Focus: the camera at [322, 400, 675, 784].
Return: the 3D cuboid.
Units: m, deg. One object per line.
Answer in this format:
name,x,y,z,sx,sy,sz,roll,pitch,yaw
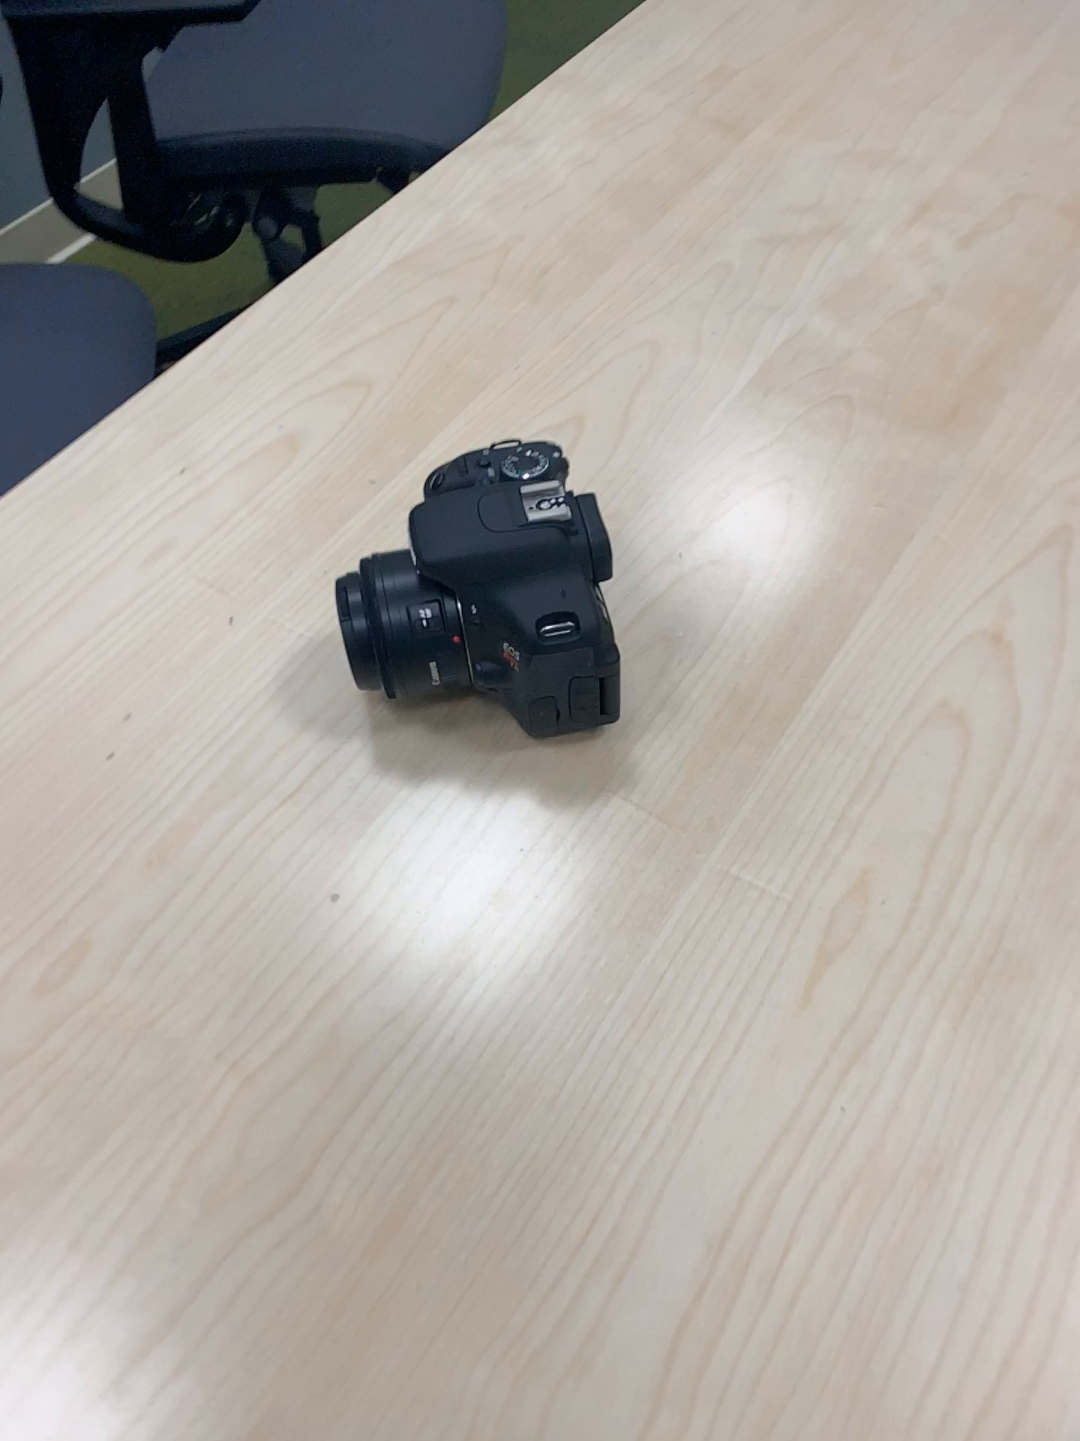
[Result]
camera,-0.022,-0.062,0.515,0.131,0.080,0.141,-11,54,-5
